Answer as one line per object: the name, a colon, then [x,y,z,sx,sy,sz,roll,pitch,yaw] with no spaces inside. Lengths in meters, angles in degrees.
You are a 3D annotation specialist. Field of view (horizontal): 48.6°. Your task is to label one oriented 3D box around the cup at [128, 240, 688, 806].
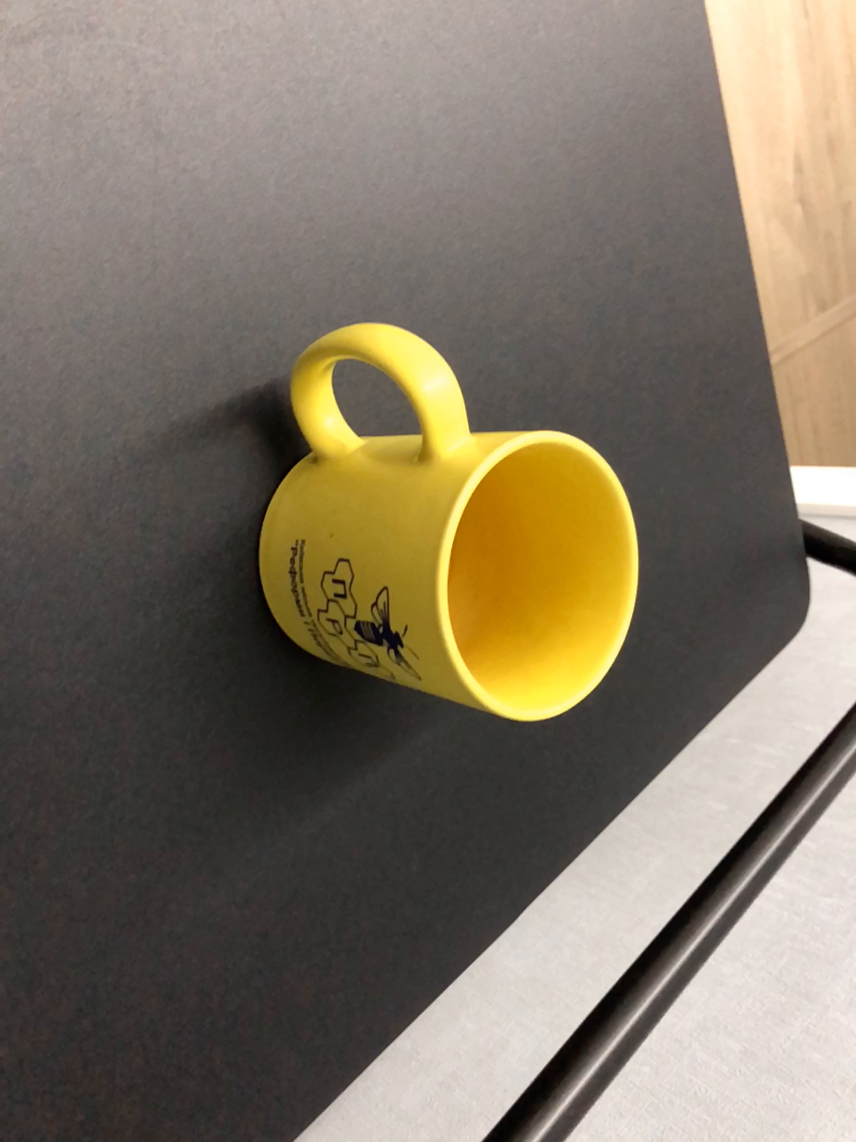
cup: [-0.003,-0.016,0.296,0.090,0.101,0.125,-43,121,-28]
